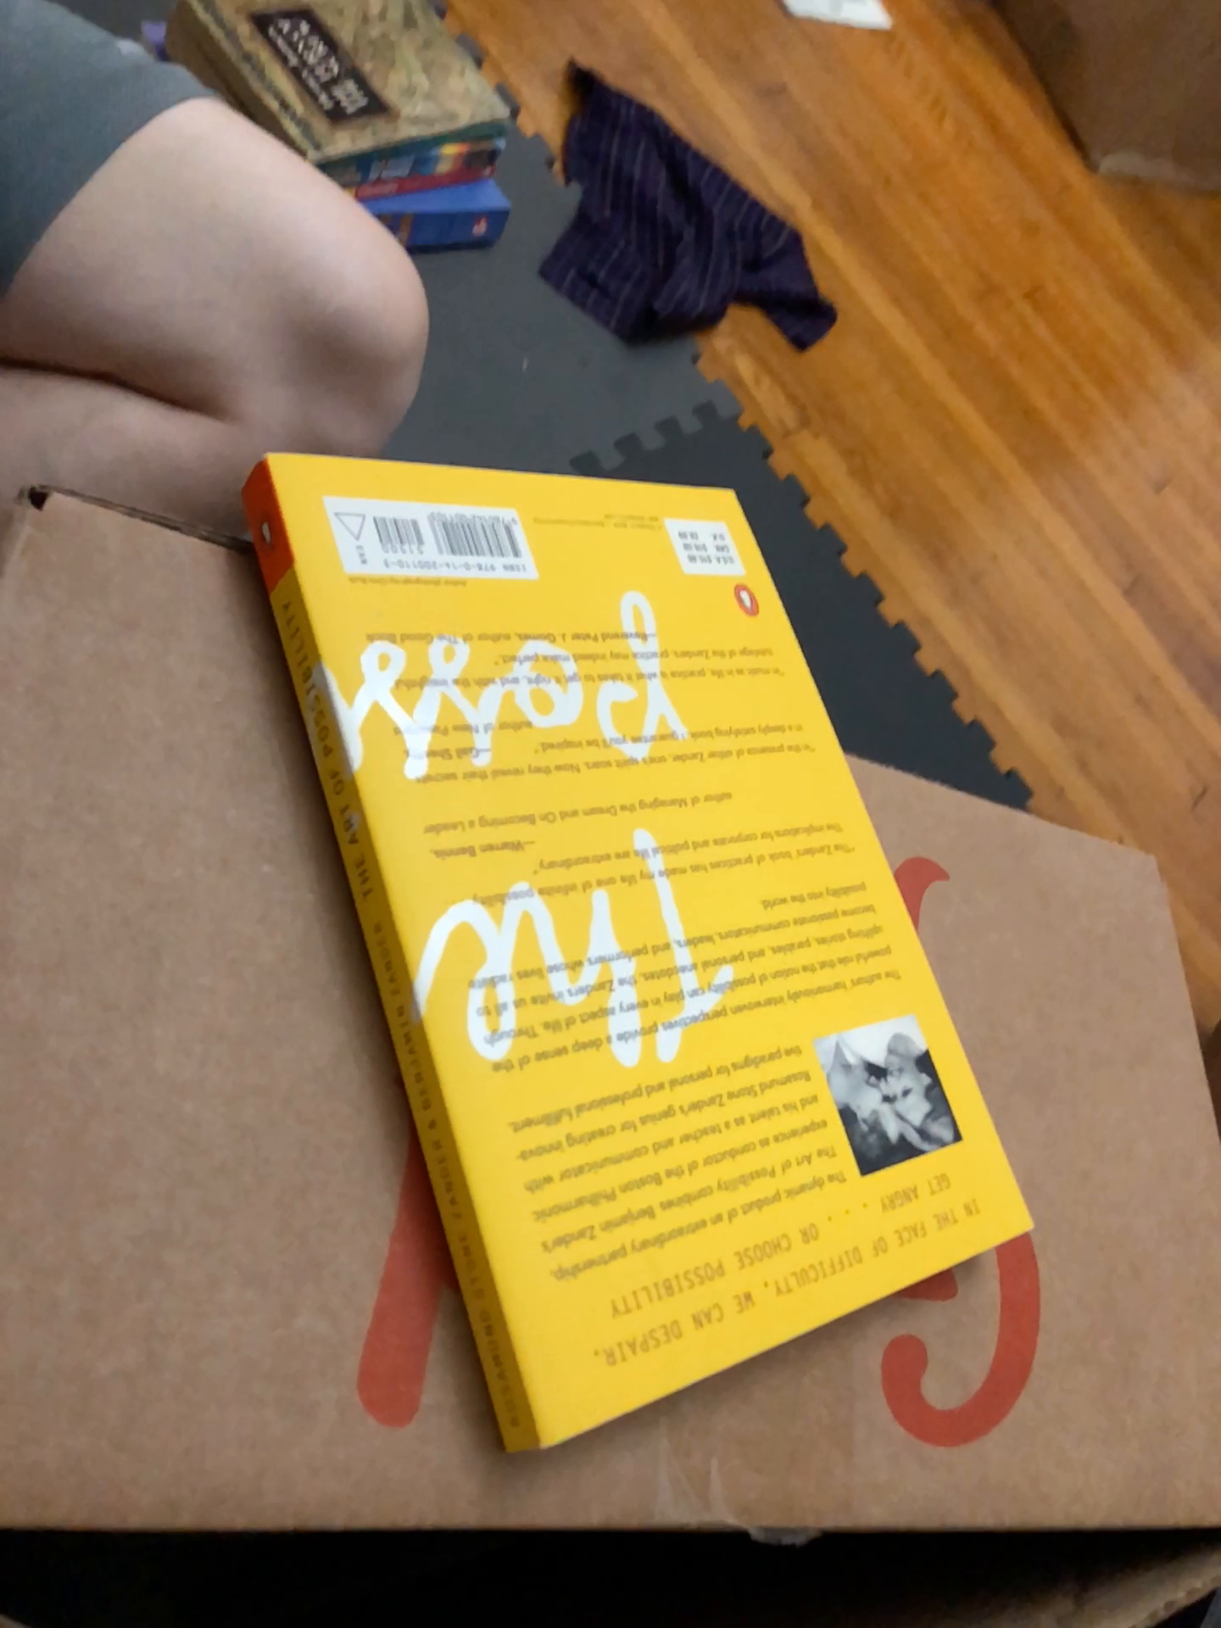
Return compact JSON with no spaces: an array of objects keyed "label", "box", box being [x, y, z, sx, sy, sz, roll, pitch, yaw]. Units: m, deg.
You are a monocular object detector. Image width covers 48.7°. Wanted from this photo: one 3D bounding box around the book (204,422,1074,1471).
[{"label":"book","box":[0.009,0.010,0.305,0.151,0.020,0.210,-7,69,-36]}]
